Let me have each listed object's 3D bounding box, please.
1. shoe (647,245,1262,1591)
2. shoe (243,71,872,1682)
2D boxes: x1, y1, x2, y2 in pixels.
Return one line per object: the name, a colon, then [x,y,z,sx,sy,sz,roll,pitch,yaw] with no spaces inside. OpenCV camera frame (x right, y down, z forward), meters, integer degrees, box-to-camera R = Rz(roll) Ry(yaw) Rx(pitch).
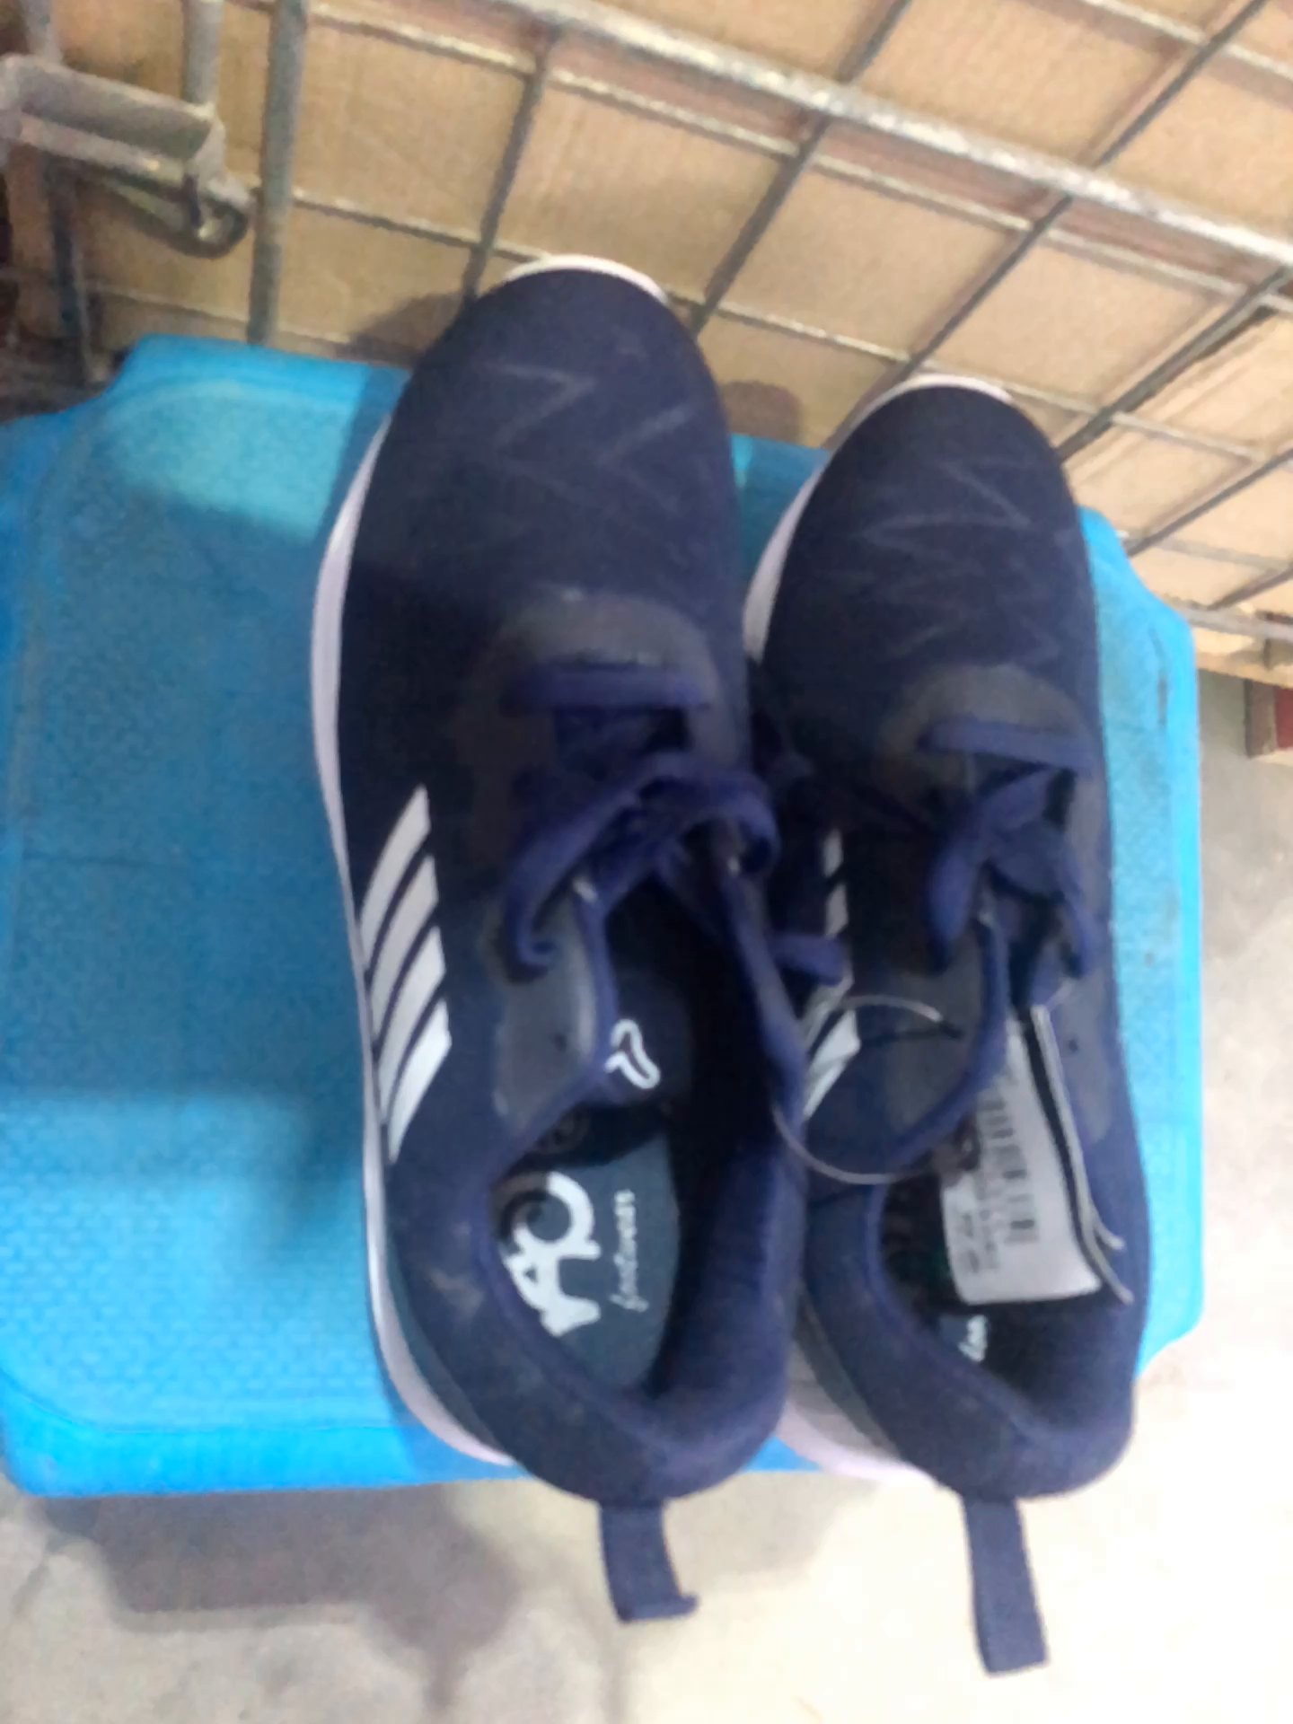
shoe: [0.065,0.011,0.342,0.100,0.100,0.270,4,80,-18]
shoe: [-0.026,0.000,0.296,0.100,0.100,0.270,3,80,-19]
